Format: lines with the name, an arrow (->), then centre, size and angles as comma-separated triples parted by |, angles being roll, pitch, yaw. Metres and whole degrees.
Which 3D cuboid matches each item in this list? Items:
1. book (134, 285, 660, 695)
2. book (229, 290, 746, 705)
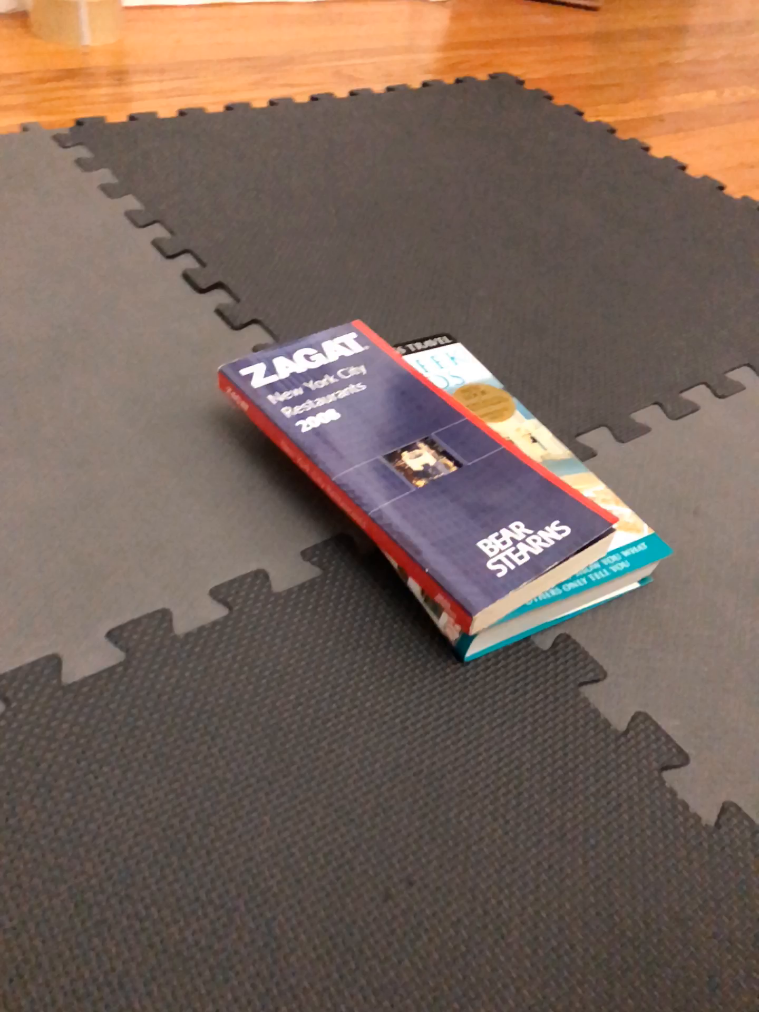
book -> 0.001, -0.032, 0.440 | 0.151, 0.020, 0.251 | -26, 54, -32
book -> 0.047, -0.030, 0.473 | 0.170, 0.030, 0.261 | -18, 50, -26
